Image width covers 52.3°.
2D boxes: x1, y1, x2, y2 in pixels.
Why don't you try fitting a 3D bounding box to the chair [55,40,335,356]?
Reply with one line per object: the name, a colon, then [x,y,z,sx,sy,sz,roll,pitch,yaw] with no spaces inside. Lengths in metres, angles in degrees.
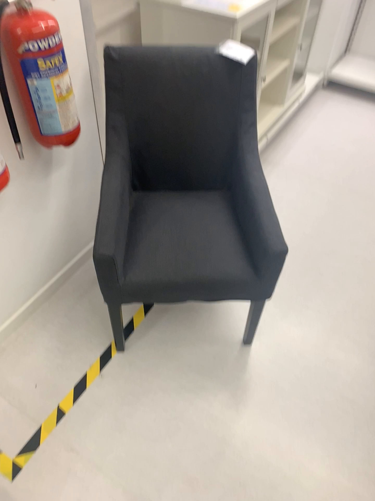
chair: [-0.012,-0.143,1.378,0.610,0.916,0.633,-1,47,-4]
